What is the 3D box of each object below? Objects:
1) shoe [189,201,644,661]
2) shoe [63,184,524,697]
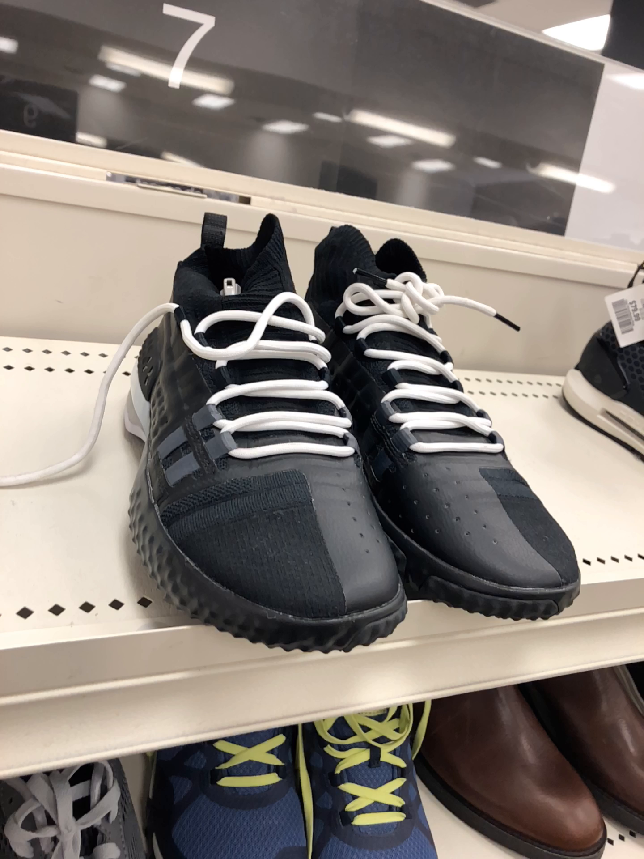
[{"bbox_3d":[0.037,-0.036,0.452,0.120,0.136,0.352,1,24,-30],"label":"shoe"},{"bbox_3d":[-0.062,-0.036,0.410,0.120,0.136,0.352,2,24,-27],"label":"shoe"}]
